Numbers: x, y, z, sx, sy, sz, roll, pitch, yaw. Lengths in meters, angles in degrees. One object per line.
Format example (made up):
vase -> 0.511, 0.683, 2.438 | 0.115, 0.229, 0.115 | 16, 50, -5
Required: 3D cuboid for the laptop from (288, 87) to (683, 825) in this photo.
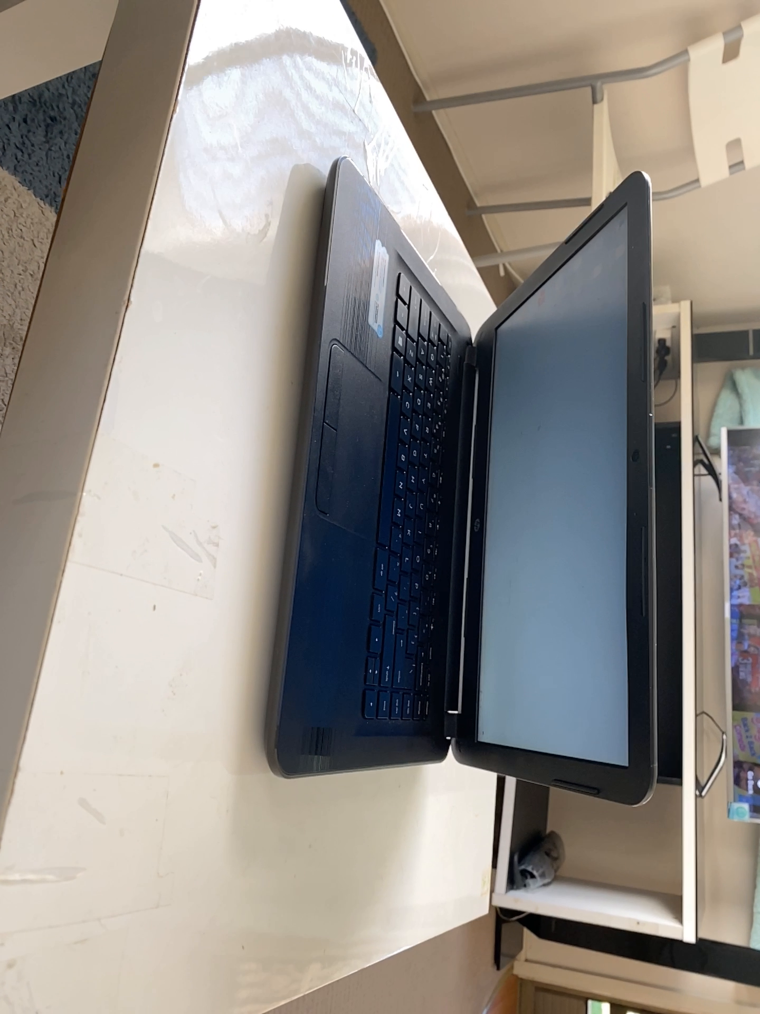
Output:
laptop -> 0.086, -0.015, 0.469 | 0.227, 0.154, 0.335 | 31, 60, -61
